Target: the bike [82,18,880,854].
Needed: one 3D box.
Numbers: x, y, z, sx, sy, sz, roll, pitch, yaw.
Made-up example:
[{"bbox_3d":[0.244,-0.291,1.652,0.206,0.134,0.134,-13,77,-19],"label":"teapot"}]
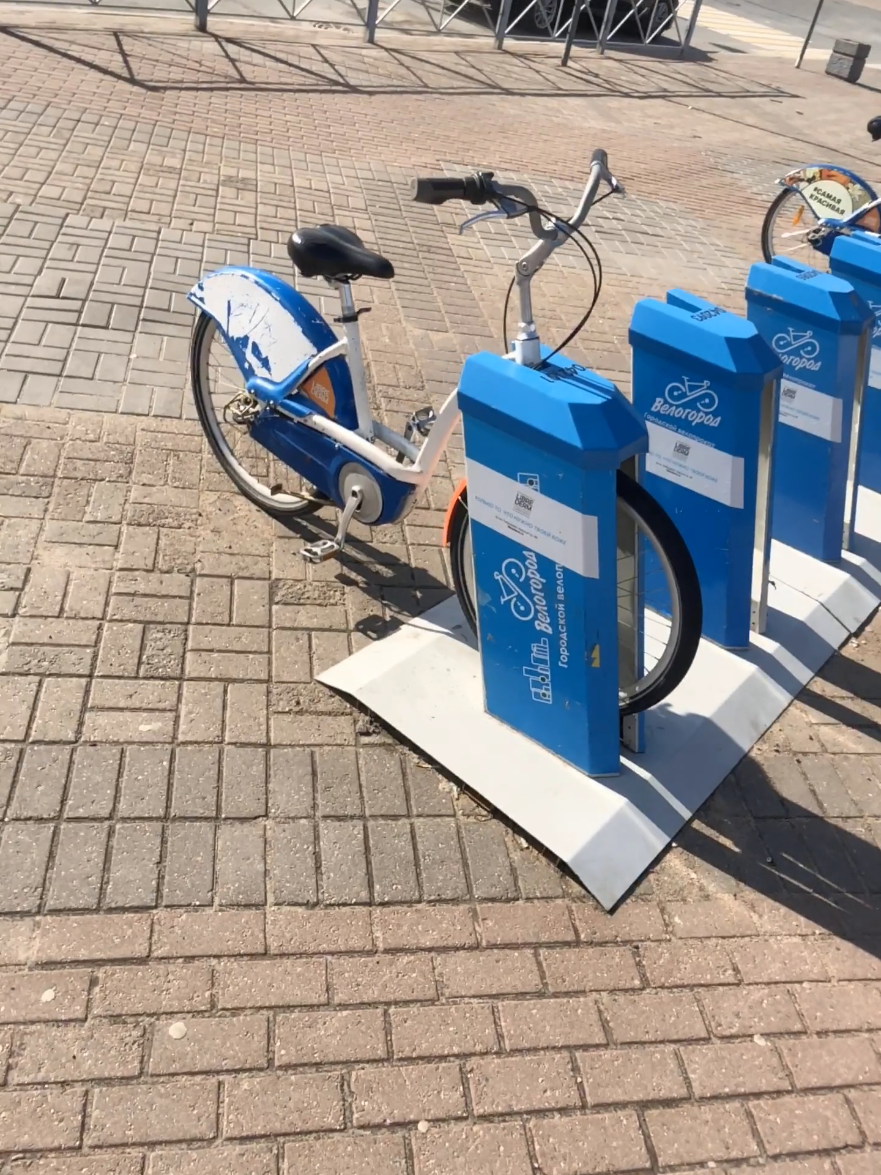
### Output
[{"bbox_3d":[-0.027,-0.447,2.175,1.677,1.233,0.684,33,40,29],"label":"bike"}]
